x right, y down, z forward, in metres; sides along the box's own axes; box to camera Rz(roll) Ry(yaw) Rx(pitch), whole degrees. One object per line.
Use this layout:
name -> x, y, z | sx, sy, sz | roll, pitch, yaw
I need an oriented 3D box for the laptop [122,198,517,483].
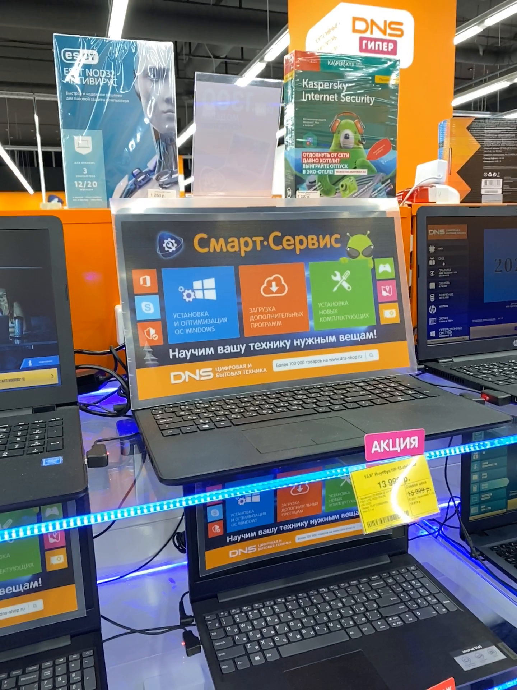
laptop -> 0.051, -0.040, 0.618 | 0.377, 0.235, 0.262 | -5, 12, -18
